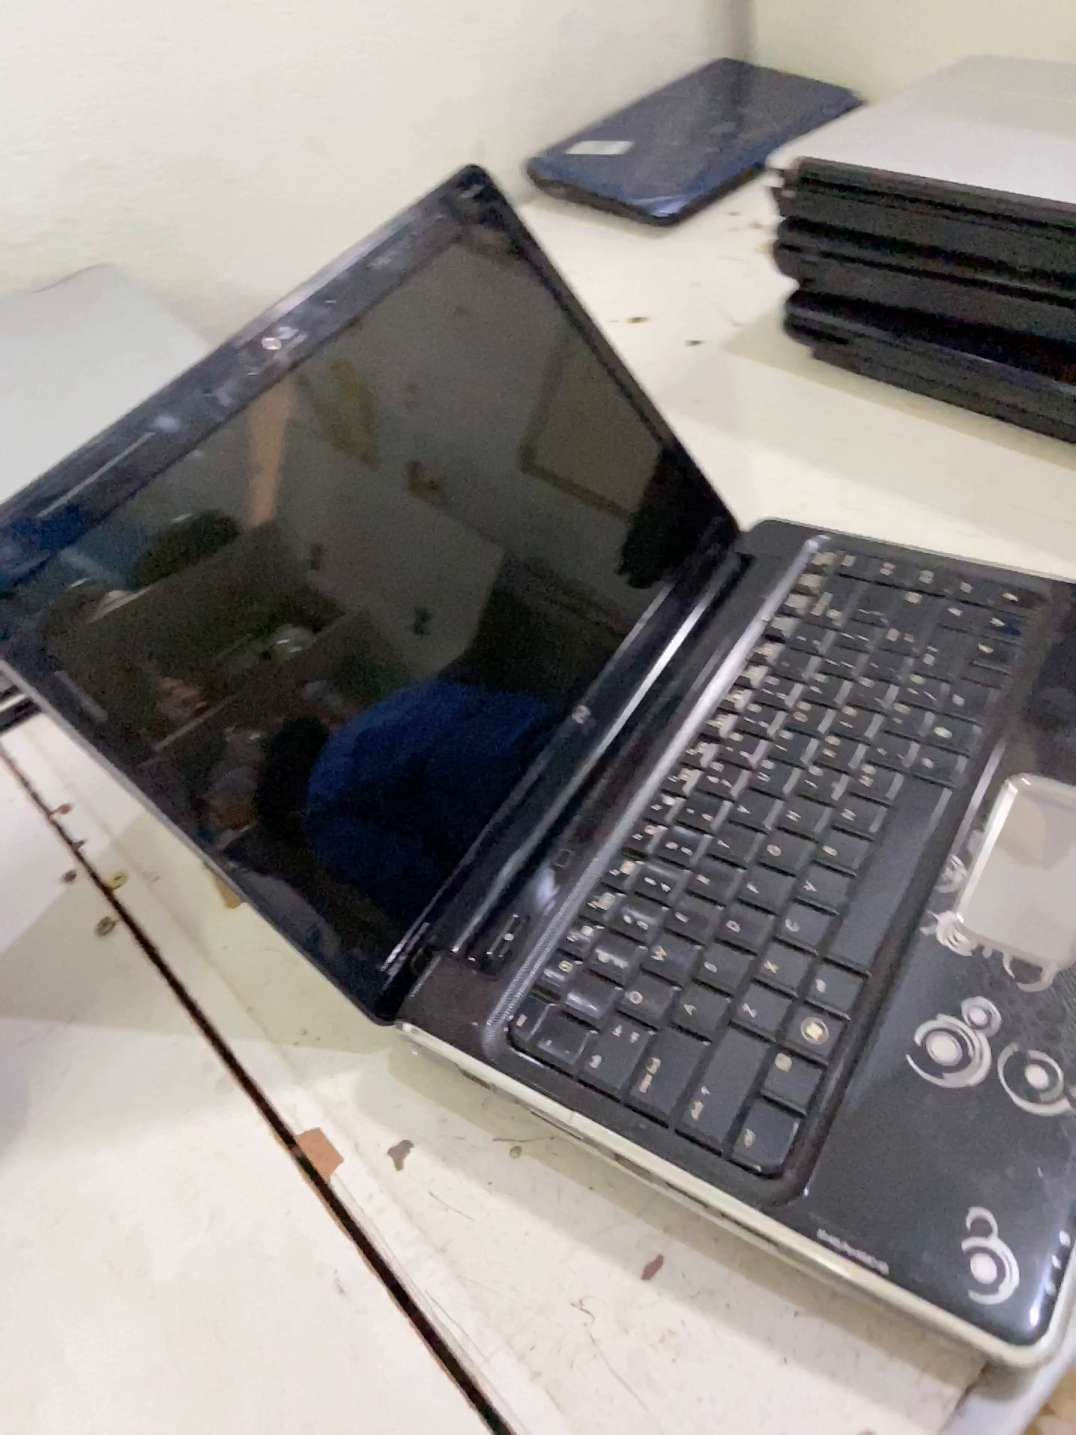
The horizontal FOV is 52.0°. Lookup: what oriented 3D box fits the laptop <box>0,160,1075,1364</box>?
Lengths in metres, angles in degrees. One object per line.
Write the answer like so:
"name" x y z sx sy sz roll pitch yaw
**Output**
"laptop" 0.055 -0.046 0.422 0.372 0.176 0.331 18 53 29
